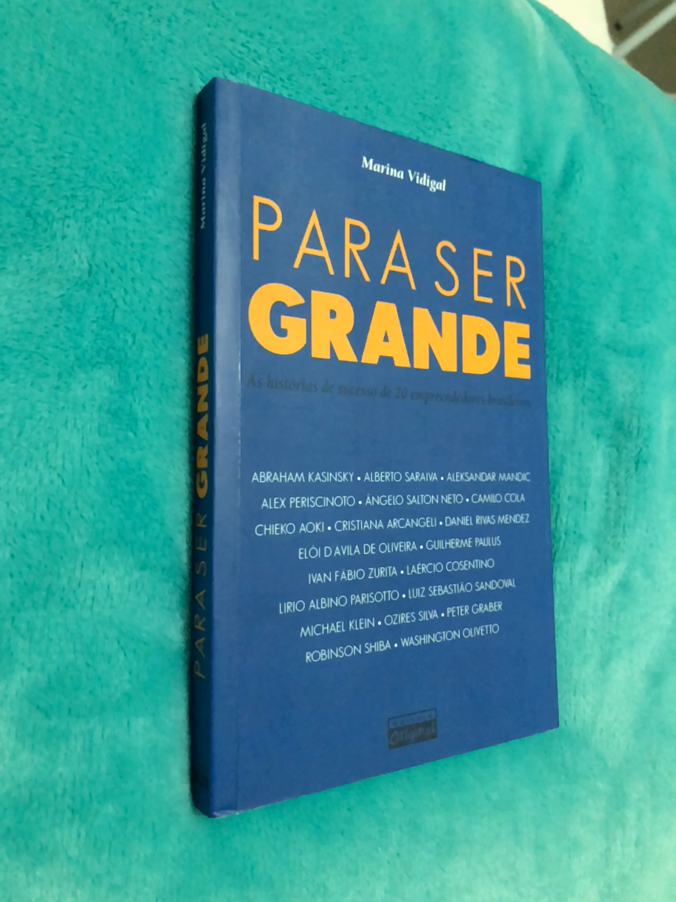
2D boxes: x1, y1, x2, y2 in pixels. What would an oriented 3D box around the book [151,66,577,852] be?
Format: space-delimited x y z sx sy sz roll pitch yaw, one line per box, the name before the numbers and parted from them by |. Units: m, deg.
book | 0.016 0.003 0.241 0.140 0.030 0.200 2 88 -32
